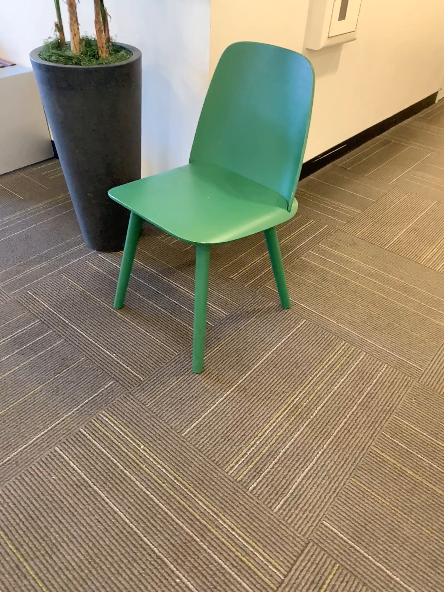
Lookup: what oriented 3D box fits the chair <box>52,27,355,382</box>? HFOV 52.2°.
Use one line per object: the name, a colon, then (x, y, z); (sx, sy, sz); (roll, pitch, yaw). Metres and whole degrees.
chair: (-0.048, -0.282, 1.325); (0.482, 0.765, 0.541); (32, 47, 30)
